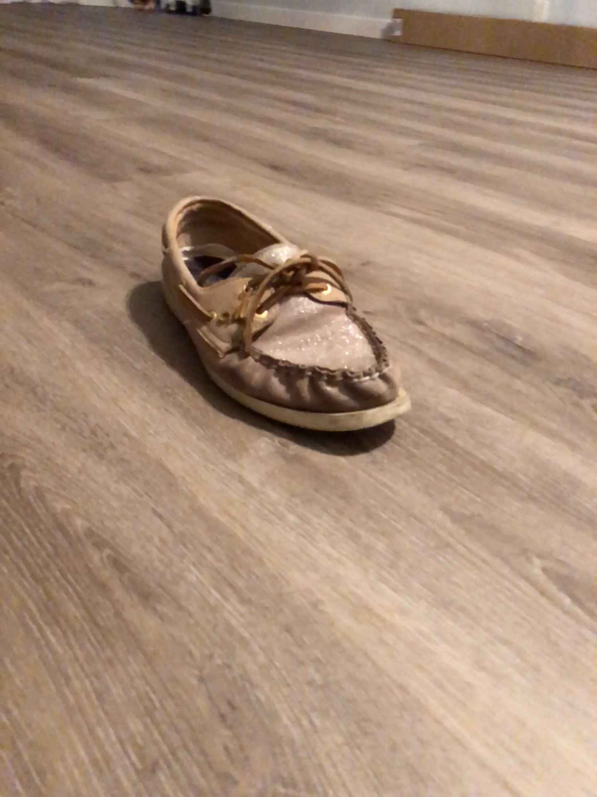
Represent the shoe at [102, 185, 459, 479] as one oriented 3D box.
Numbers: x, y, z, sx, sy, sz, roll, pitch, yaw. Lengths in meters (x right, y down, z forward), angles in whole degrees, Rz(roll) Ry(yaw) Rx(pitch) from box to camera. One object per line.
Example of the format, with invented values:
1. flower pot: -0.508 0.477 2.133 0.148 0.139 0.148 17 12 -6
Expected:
1. shoe: -0.031 -0.062 0.405 0.100 0.070 0.251 -14 36 -28
